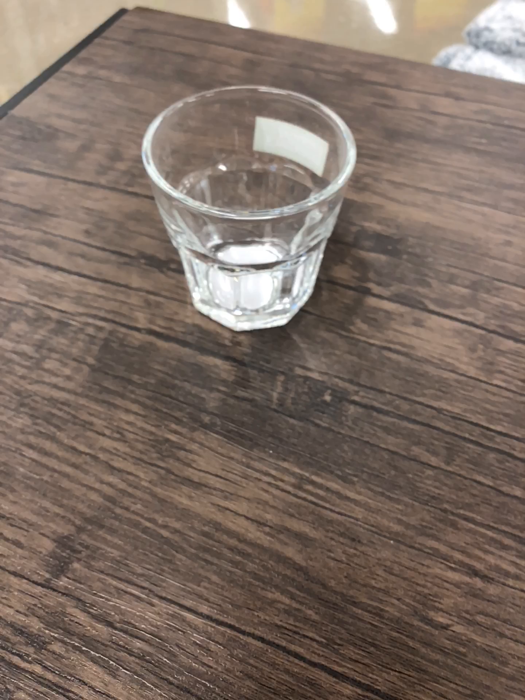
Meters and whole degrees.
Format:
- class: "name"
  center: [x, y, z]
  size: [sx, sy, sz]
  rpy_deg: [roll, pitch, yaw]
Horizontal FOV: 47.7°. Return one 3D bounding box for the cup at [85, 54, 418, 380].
- class: "cup"
  center: [-0.005, -0.060, 0.254]
  size: [0.090, 0.070, 0.090]
  rpy_deg: [0, 53, 0]
